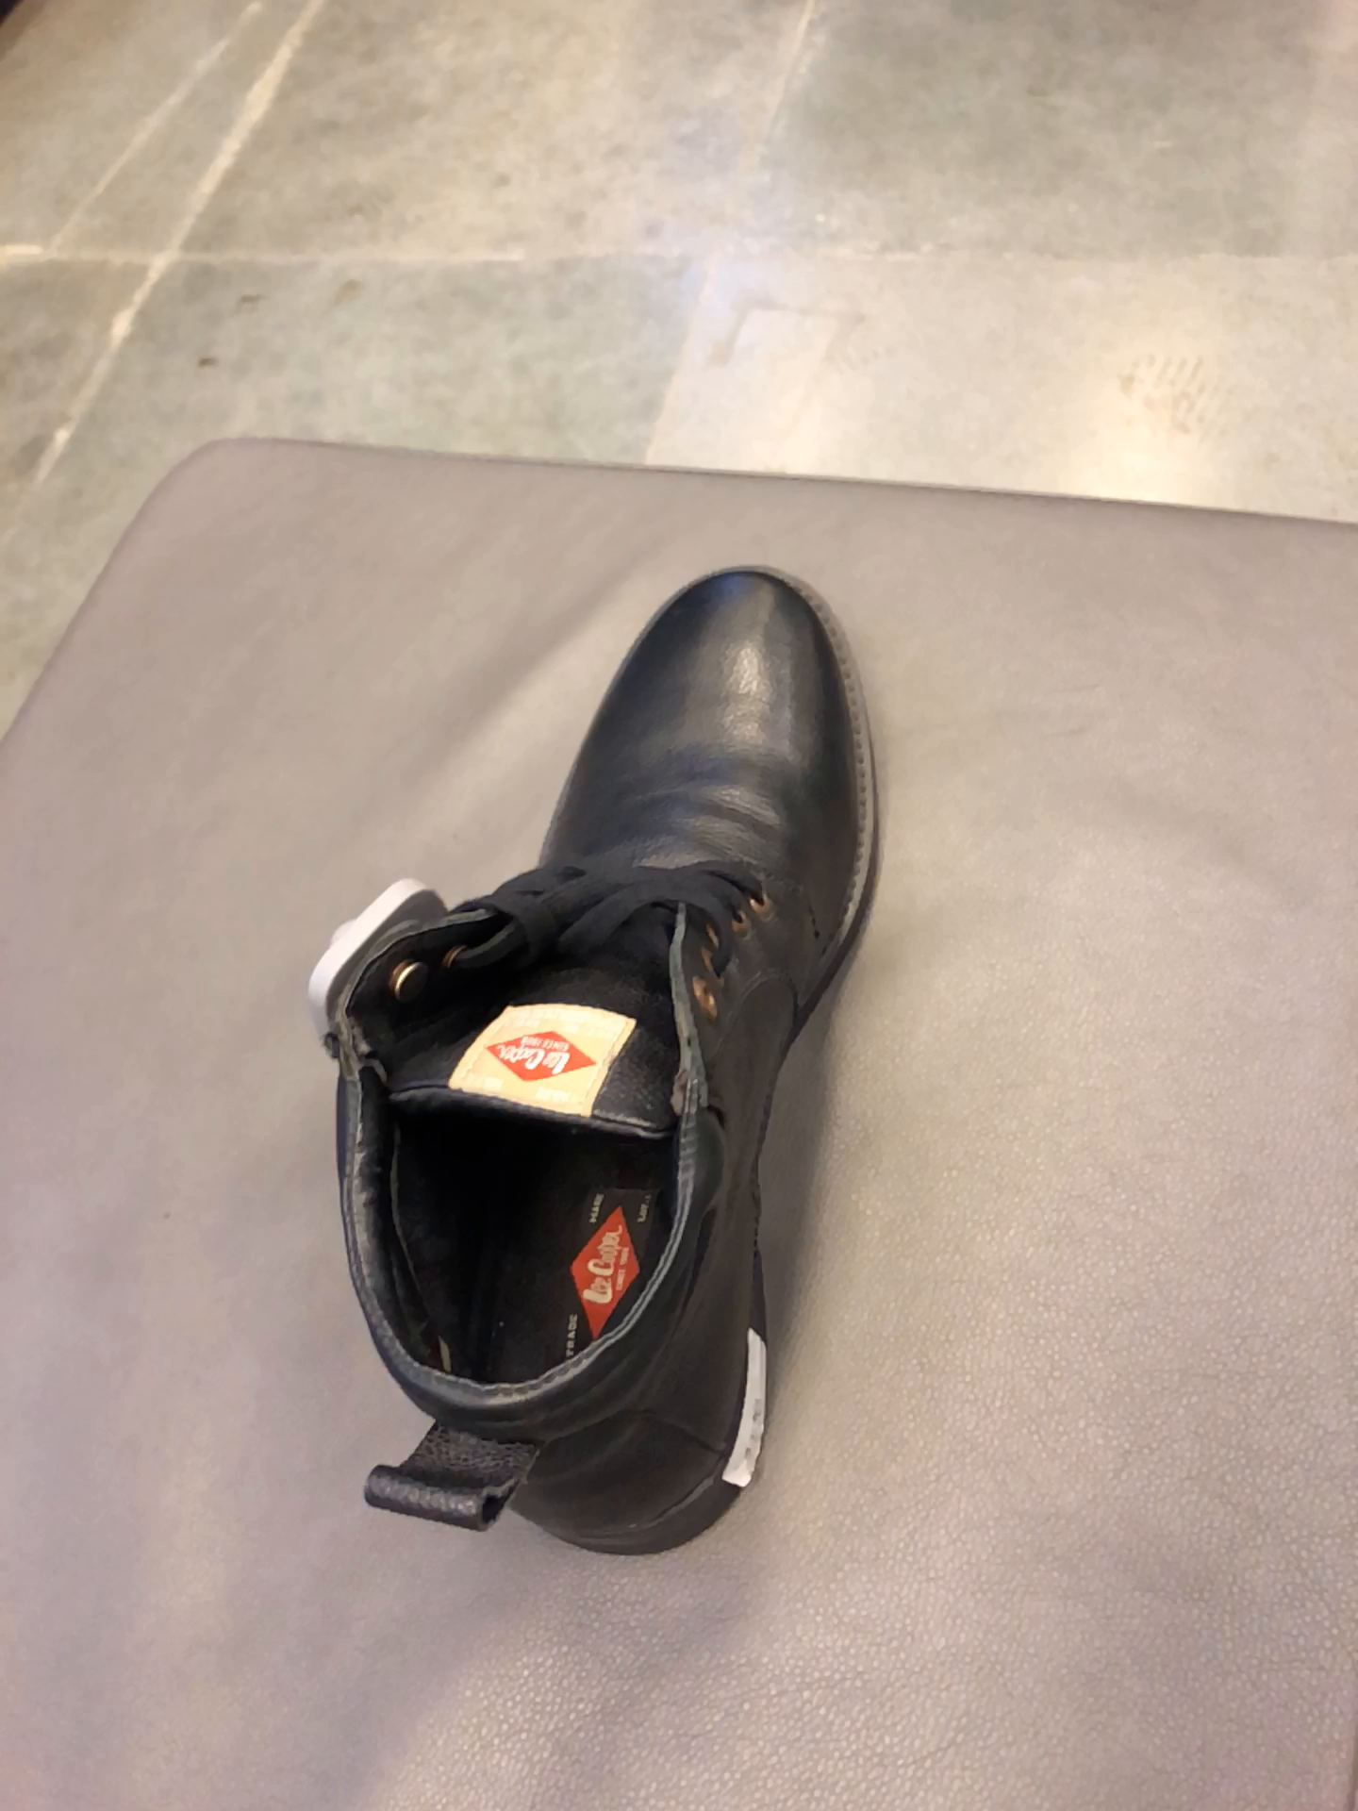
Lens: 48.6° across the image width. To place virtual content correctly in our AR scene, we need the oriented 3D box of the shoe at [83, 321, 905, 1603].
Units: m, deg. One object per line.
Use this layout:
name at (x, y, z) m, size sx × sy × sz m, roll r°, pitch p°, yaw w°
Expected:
shoe at (-0.016, 0.010, 0.390) m, size 0.111 × 0.149 × 0.285 m, roll 3°, pitch 62°, yaw 15°
